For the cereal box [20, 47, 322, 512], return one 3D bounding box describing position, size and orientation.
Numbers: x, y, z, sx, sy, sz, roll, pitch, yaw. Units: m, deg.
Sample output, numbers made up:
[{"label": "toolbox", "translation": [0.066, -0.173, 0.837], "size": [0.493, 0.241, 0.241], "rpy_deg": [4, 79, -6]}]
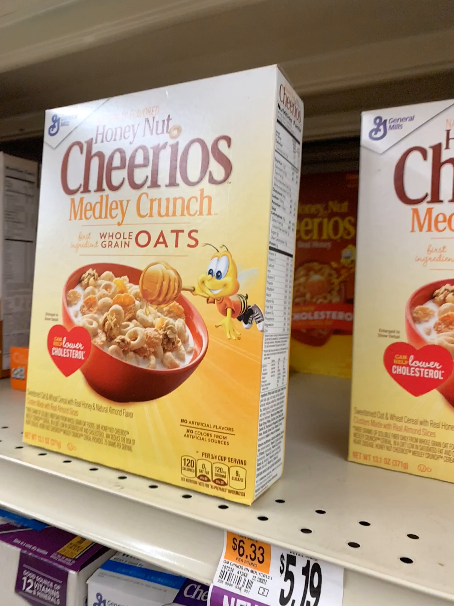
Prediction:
[{"label": "cereal box", "translation": [-0.043, -0.018, 0.323], "size": [0.190, 0.250, 0.060], "rpy_deg": [3, -2, 28]}]
